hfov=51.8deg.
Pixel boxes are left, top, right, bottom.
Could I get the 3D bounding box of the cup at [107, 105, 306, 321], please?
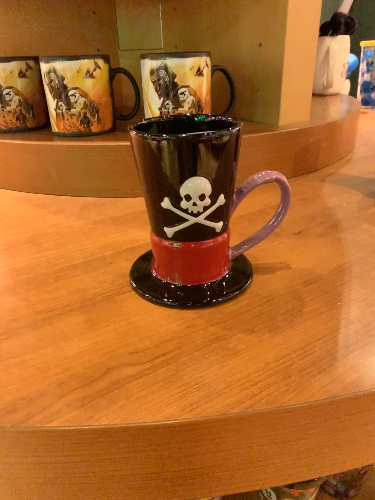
[{"bbox_3d":[0.008,-0.039,0.336,0.134,0.144,0.111,-5,28,-7],"label":"cup"}]
